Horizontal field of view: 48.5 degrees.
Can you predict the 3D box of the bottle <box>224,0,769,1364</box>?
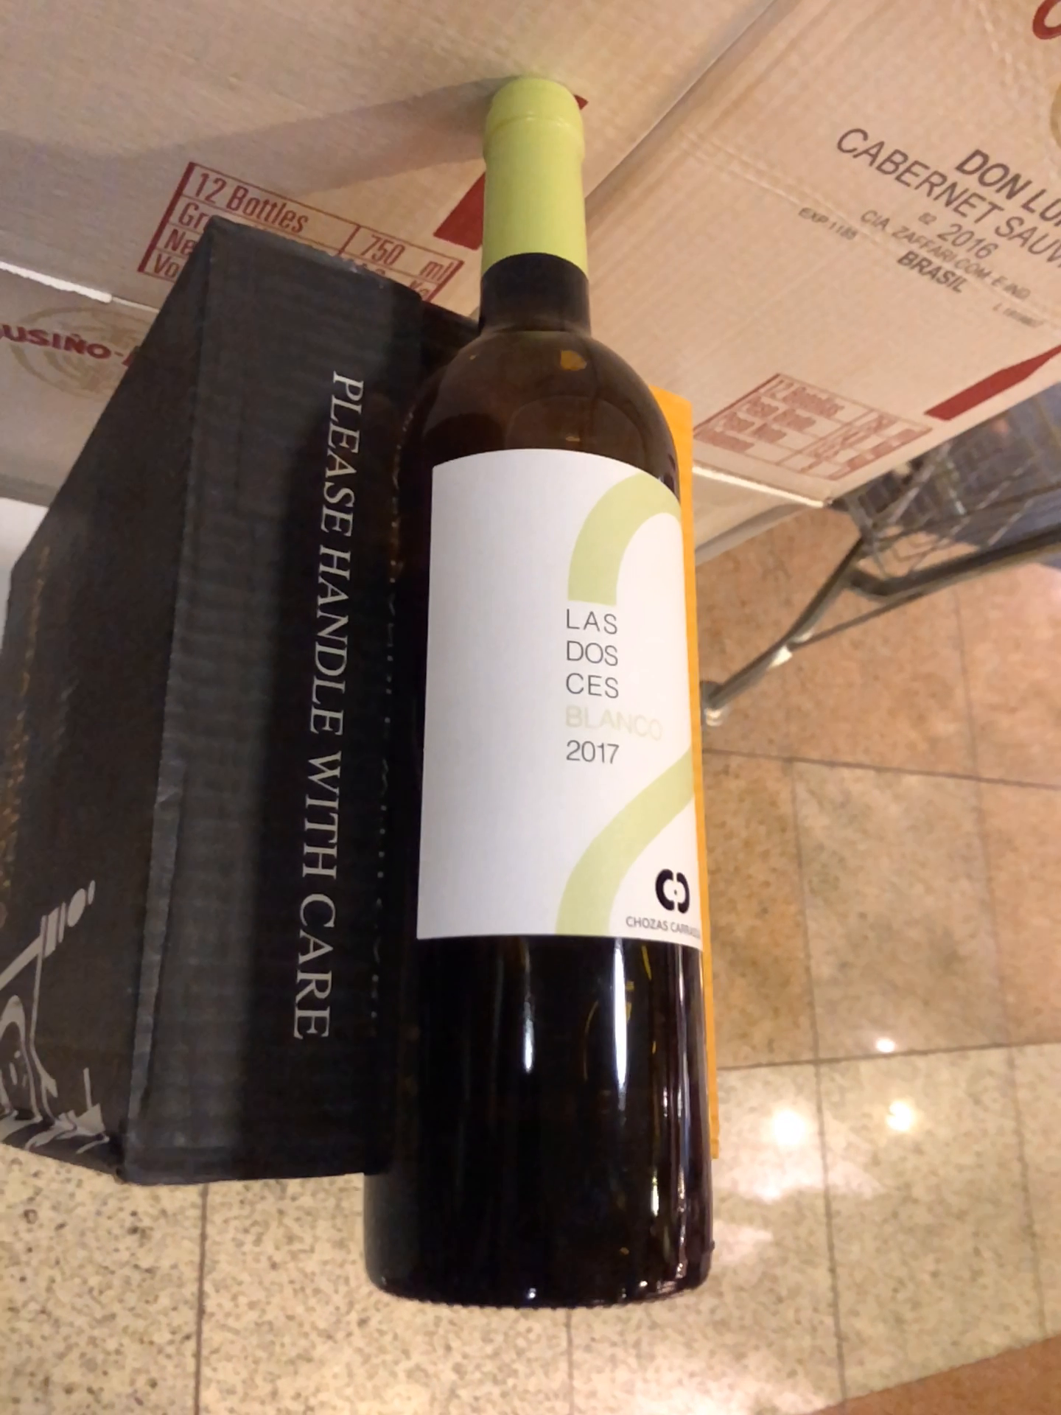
[{"bbox_3d":[-0.005,-0.034,0.285,0.090,0.070,0.320,10,73,-31],"label":"bottle"}]
